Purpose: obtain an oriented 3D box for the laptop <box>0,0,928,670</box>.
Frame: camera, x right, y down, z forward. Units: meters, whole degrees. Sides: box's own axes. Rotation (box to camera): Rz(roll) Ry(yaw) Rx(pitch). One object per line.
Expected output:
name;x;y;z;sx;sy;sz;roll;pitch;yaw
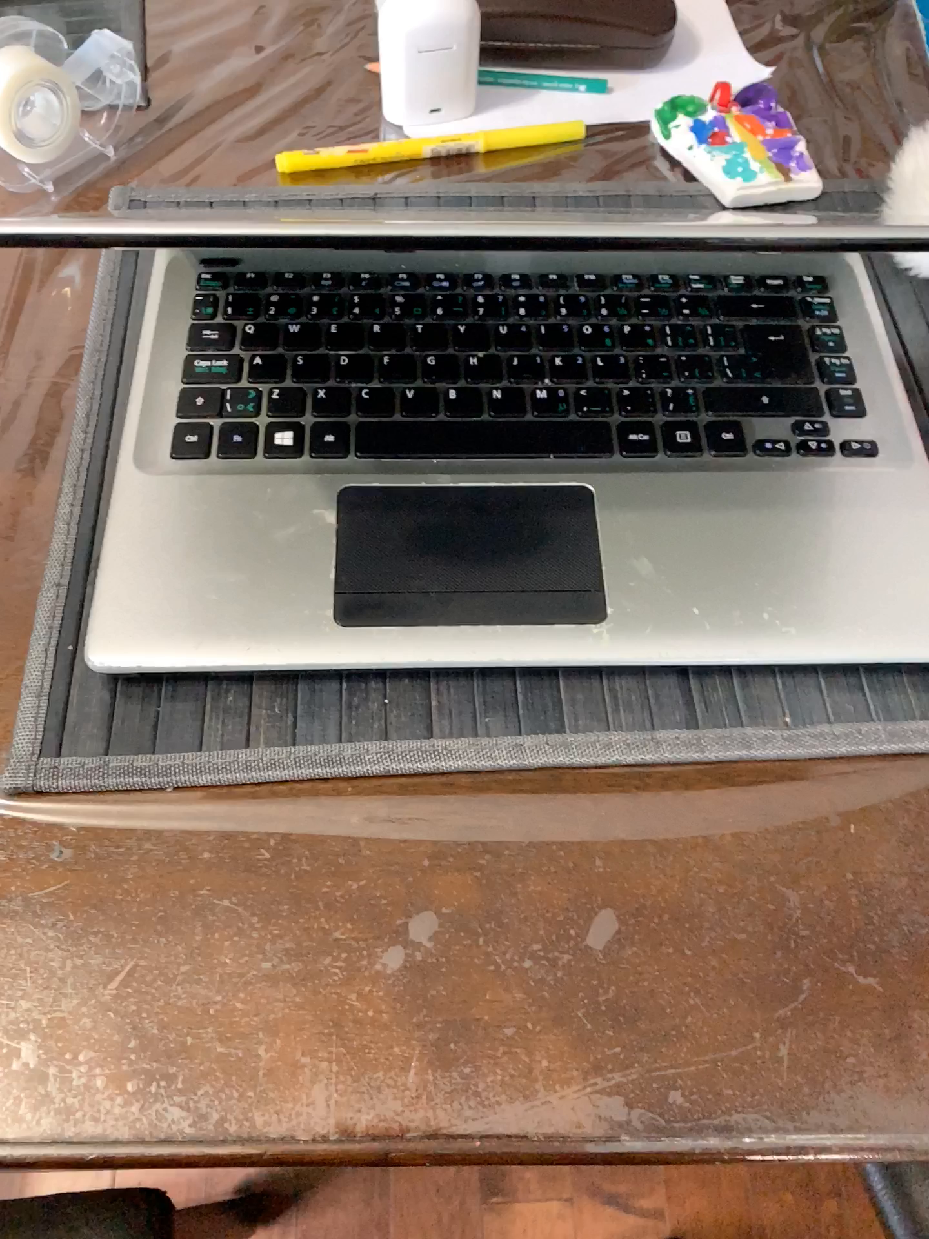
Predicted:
laptop;0.029;-0.121;0.355;0.344;0.145;0.236;-1;61;-2
